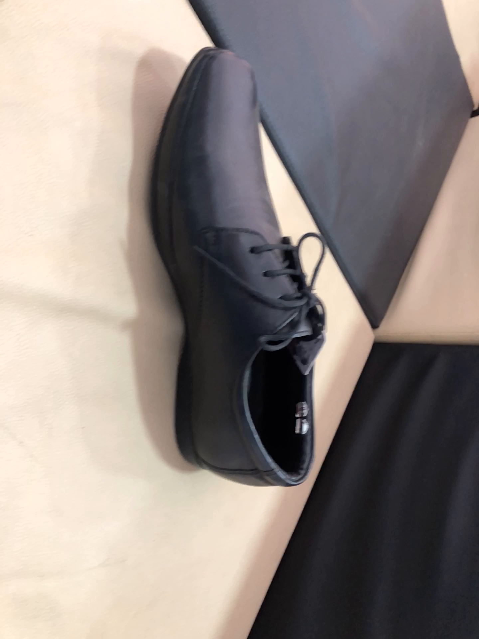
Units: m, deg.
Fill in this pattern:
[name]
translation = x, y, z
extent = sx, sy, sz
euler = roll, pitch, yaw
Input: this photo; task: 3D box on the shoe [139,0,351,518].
[shoe]
translation = 0.006, -0.037, 0.325
extent = 0.091, 0.079, 0.270
euler = -5, 94, -47
